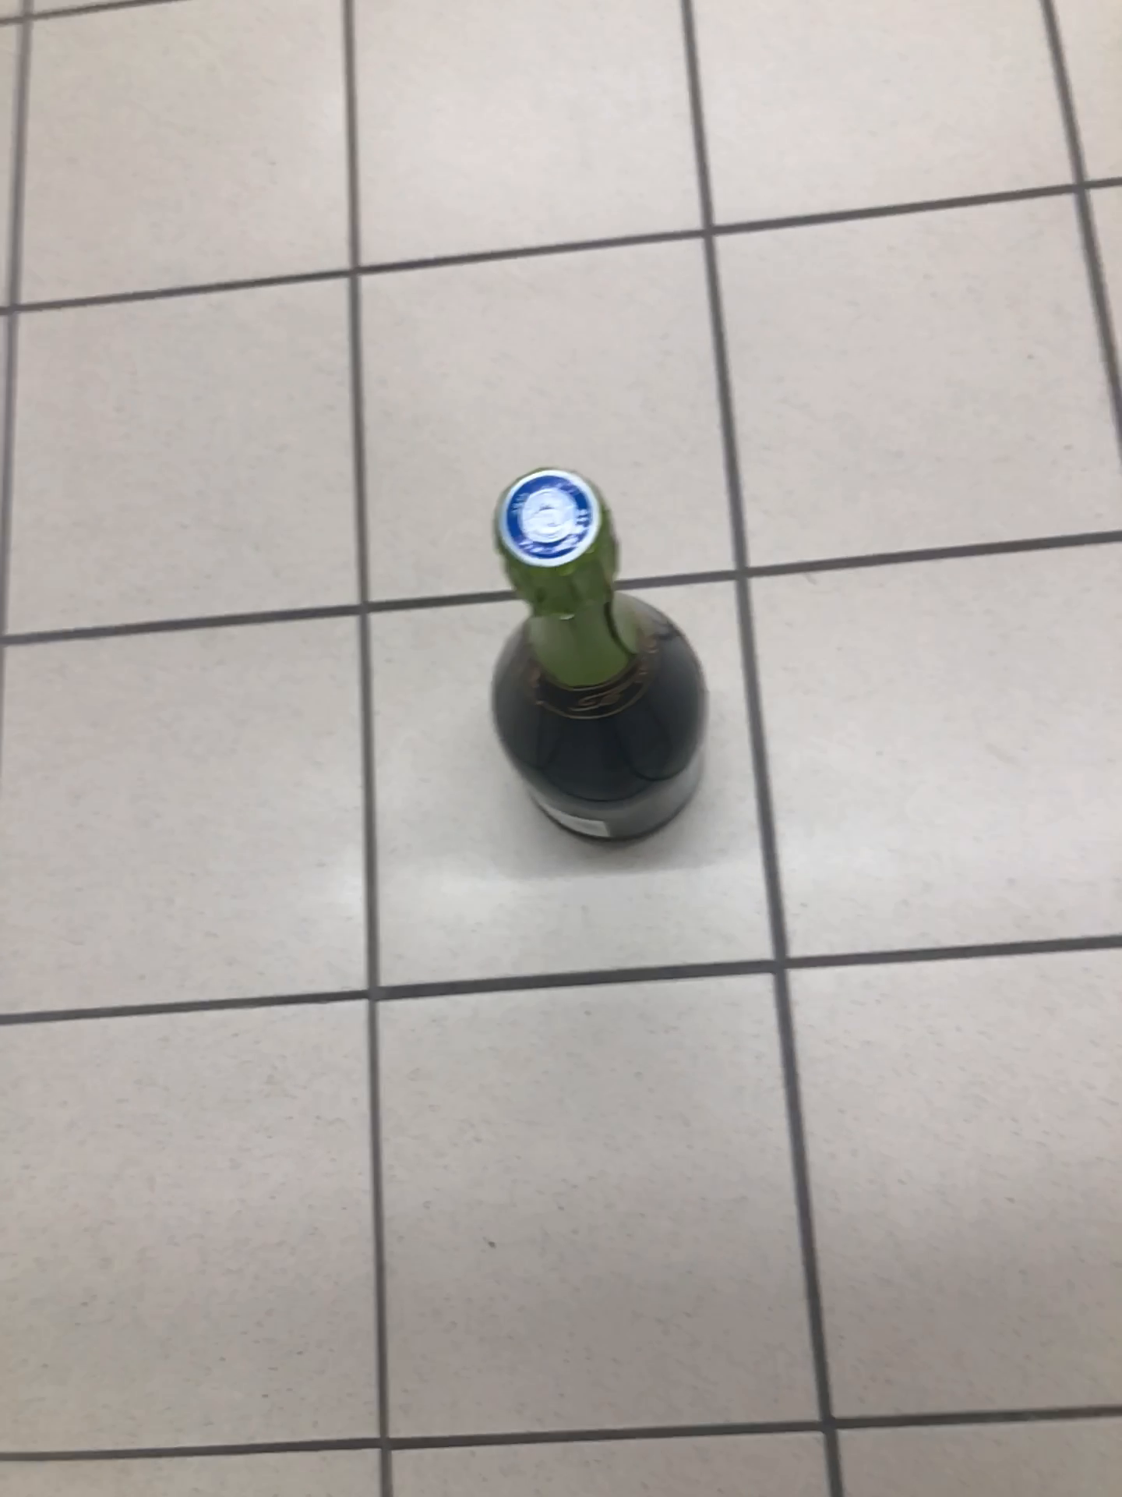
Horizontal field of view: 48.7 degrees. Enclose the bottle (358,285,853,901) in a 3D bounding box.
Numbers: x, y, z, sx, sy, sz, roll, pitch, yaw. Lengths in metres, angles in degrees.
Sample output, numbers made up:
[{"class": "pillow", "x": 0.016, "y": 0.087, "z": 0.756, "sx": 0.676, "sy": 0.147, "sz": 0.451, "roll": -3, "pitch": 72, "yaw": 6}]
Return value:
[{"class": "bottle", "x": 0.025, "y": -0.027, "z": 0.480, "sx": 0.090, "sy": 0.310, "sz": 0.100, "roll": -37, "pitch": 76, "yaw": -4}]
